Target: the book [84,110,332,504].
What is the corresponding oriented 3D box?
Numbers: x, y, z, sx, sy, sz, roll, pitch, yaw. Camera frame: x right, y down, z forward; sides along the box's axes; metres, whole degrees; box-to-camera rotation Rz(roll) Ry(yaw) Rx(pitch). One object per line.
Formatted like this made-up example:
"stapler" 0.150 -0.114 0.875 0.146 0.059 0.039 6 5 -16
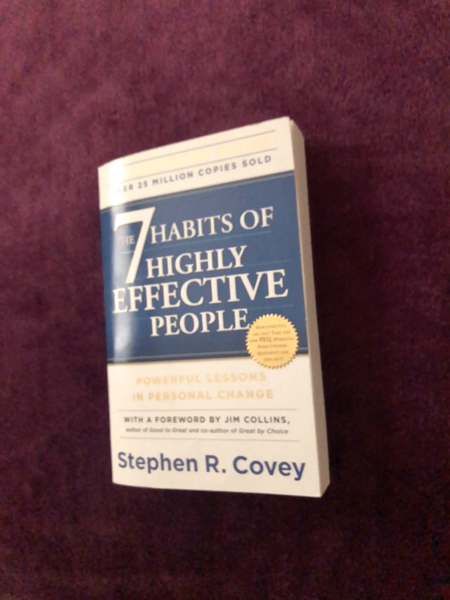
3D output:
"book" -0.016 0.008 0.320 0.147 0.029 0.217 -5 86 23
